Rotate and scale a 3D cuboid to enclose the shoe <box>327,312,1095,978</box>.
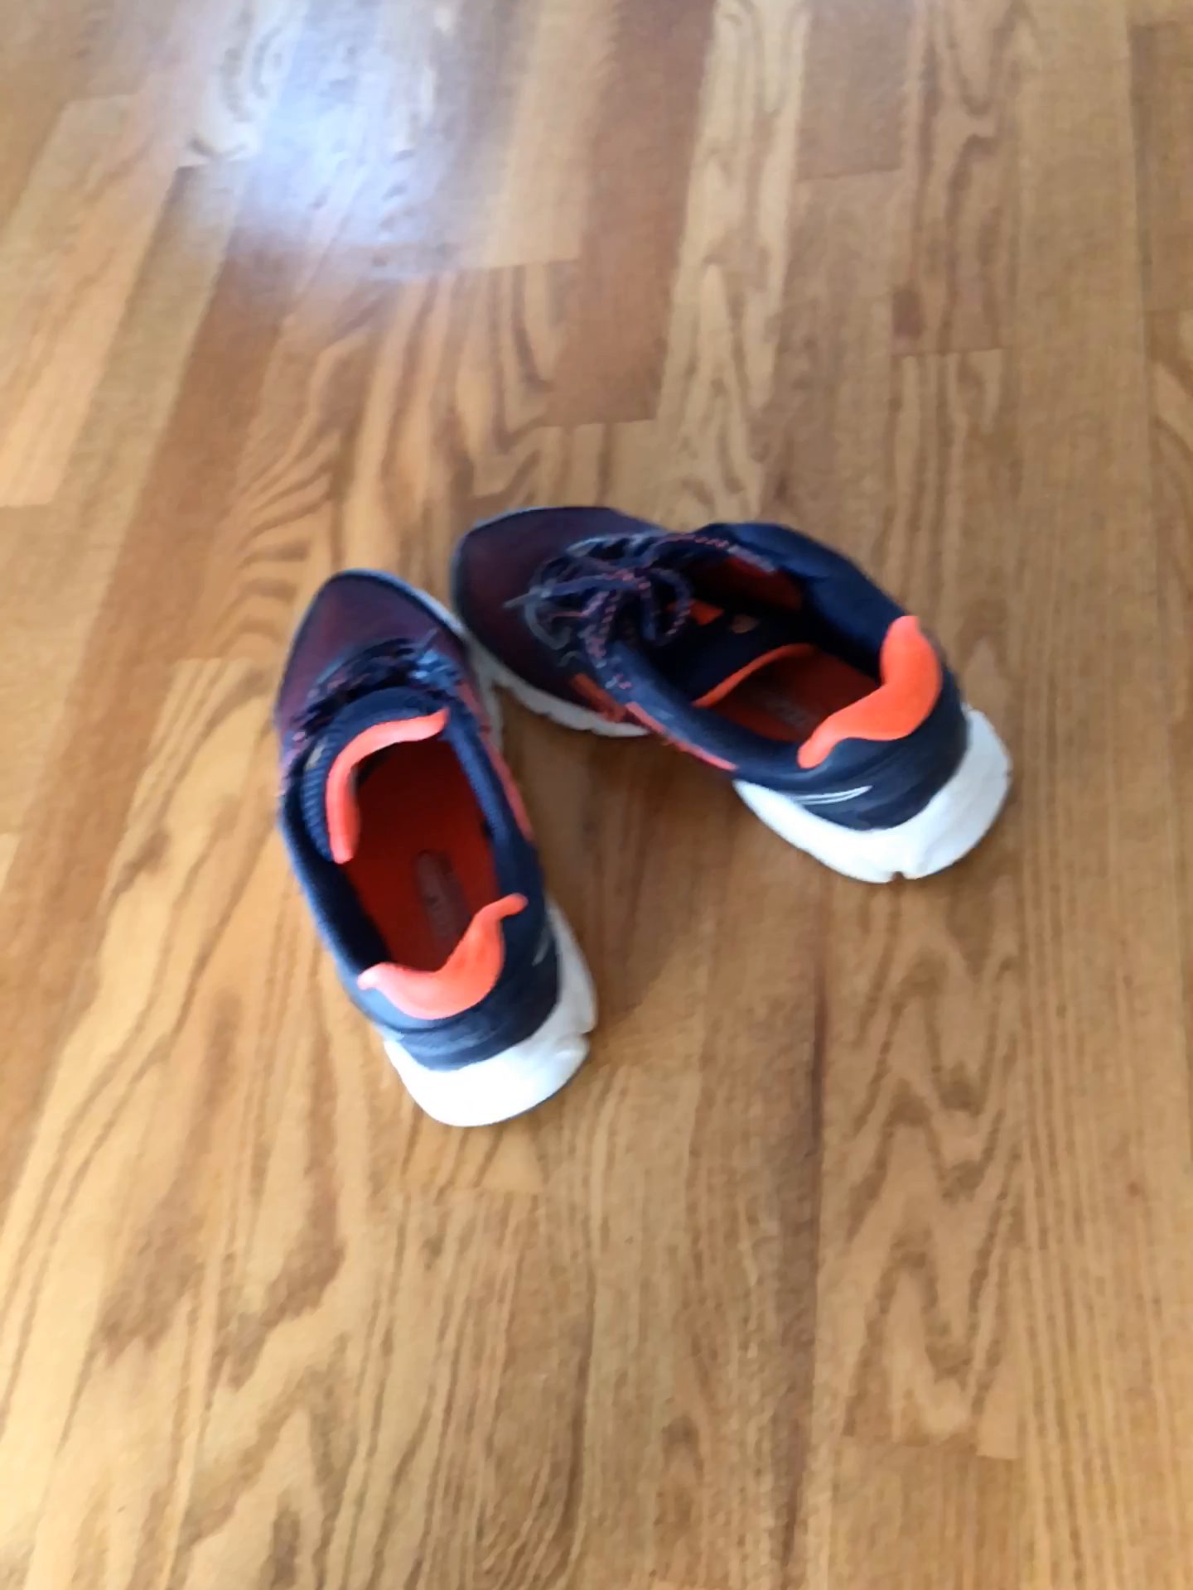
[{"bbox_3d":[0.040,-0.069,0.533,0.278,0.109,0.116,36,77,29],"label":"shoe"}]

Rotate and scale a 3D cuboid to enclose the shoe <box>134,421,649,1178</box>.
[{"bbox_3d":[-0.088,-0.005,0.535,0.108,0.109,0.270,-25,59,2],"label":"shoe"}]
